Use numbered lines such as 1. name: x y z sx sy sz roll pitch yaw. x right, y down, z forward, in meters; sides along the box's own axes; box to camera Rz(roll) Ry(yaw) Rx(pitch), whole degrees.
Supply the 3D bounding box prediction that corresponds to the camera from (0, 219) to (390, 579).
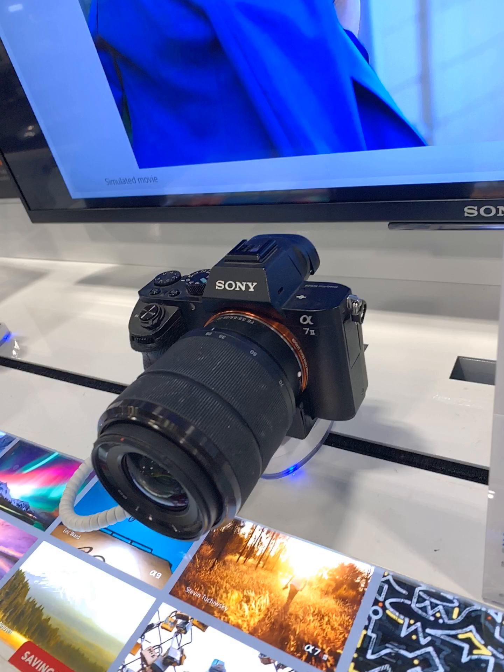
1. camera: -0.020 0.012 0.268 0.129 0.084 0.150 6 38 33
